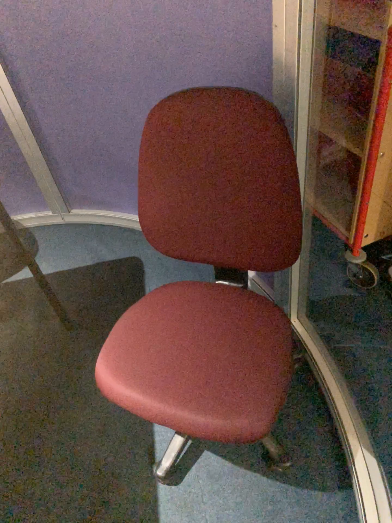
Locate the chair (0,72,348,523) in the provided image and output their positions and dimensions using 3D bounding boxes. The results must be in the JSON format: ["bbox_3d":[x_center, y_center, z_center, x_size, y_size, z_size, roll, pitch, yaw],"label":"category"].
[{"bbox_3d":[0.034,0.052,1.094,0.581,0.772,0.857,8,46,19],"label":"chair"}]
